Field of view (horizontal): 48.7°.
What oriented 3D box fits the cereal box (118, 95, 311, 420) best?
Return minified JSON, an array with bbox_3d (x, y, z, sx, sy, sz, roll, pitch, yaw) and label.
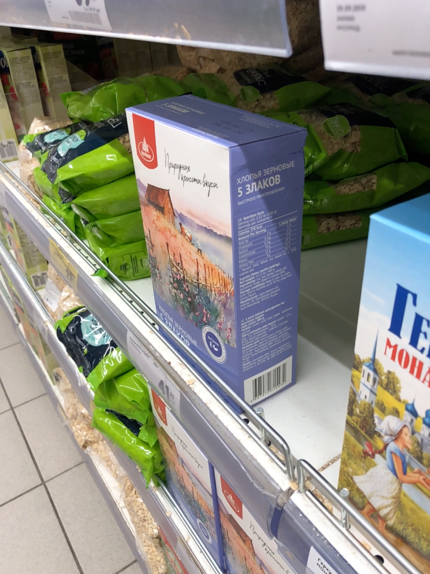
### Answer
[{"bbox_3d":[-0.002,-0.027,0.361,0.060,0.199,0.141,-21,35,-26],"label":"cereal box"}]
